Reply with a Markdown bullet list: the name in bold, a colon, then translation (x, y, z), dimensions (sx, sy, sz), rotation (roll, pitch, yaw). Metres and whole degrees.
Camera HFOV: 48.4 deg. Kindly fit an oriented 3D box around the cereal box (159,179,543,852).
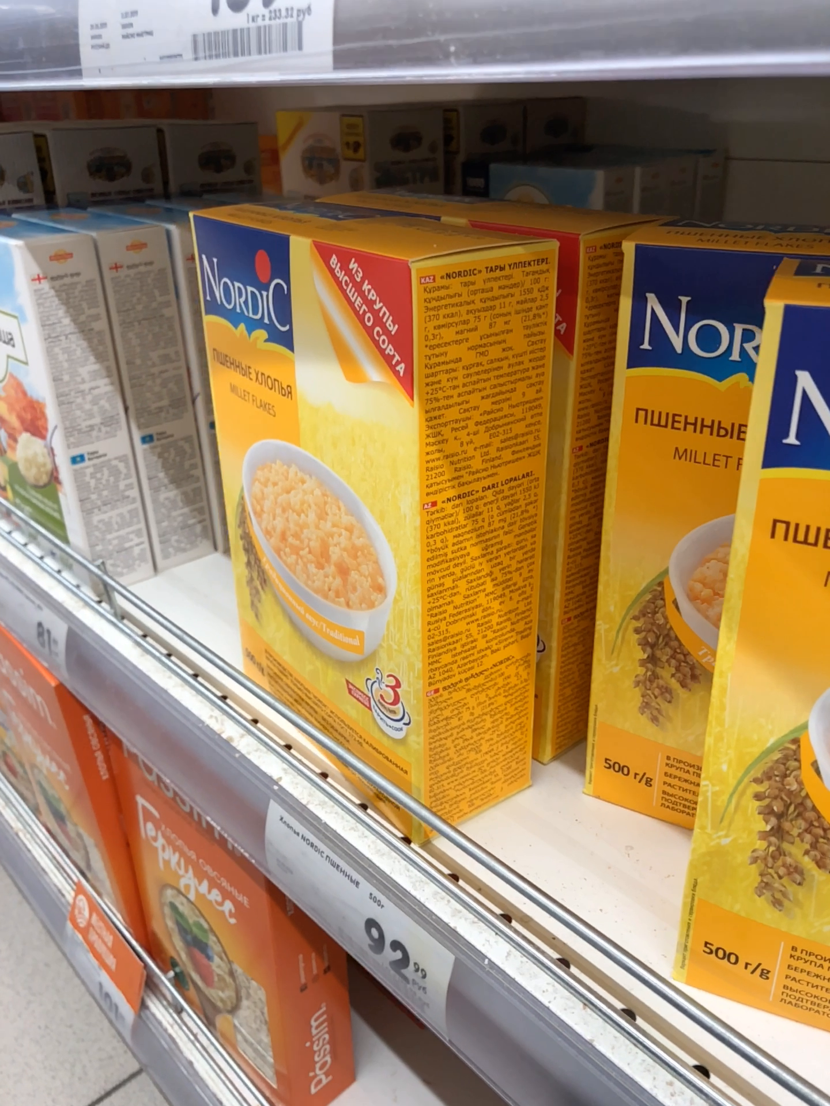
- **cereal box**: translation (-0.027, -0.022, 0.345), dimensions (0.060, 0.209, 0.141), rotation (-18, 31, -31)
